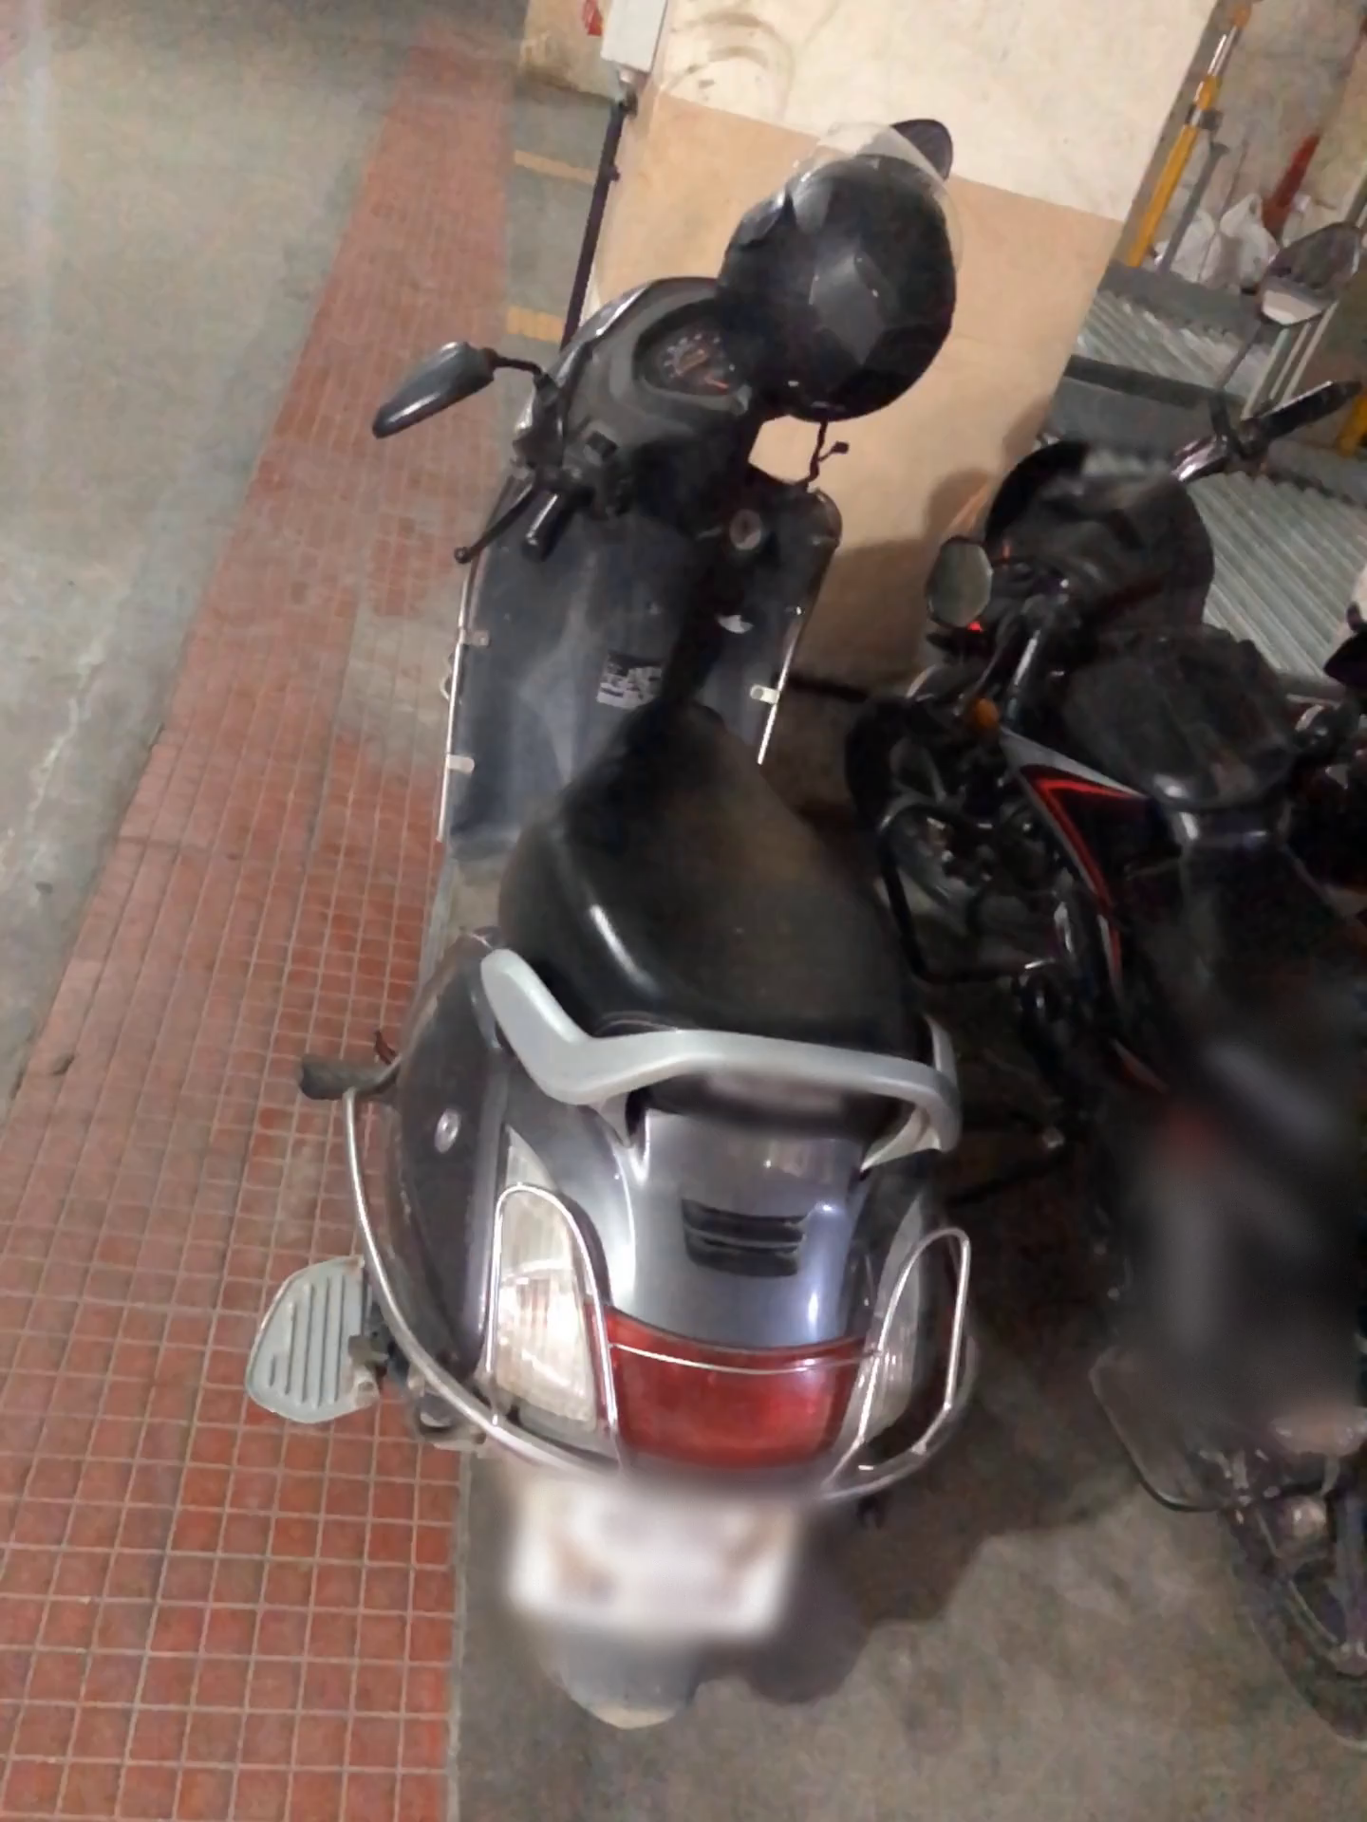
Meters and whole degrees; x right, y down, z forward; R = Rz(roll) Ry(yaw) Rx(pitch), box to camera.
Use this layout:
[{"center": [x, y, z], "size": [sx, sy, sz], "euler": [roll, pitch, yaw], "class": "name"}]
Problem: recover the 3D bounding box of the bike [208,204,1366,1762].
[{"center": [-0.162, -0.048, 1.676], "size": [0.595, 0.988, 1.501], "euler": [5, 34, -18], "class": "bike"}]
